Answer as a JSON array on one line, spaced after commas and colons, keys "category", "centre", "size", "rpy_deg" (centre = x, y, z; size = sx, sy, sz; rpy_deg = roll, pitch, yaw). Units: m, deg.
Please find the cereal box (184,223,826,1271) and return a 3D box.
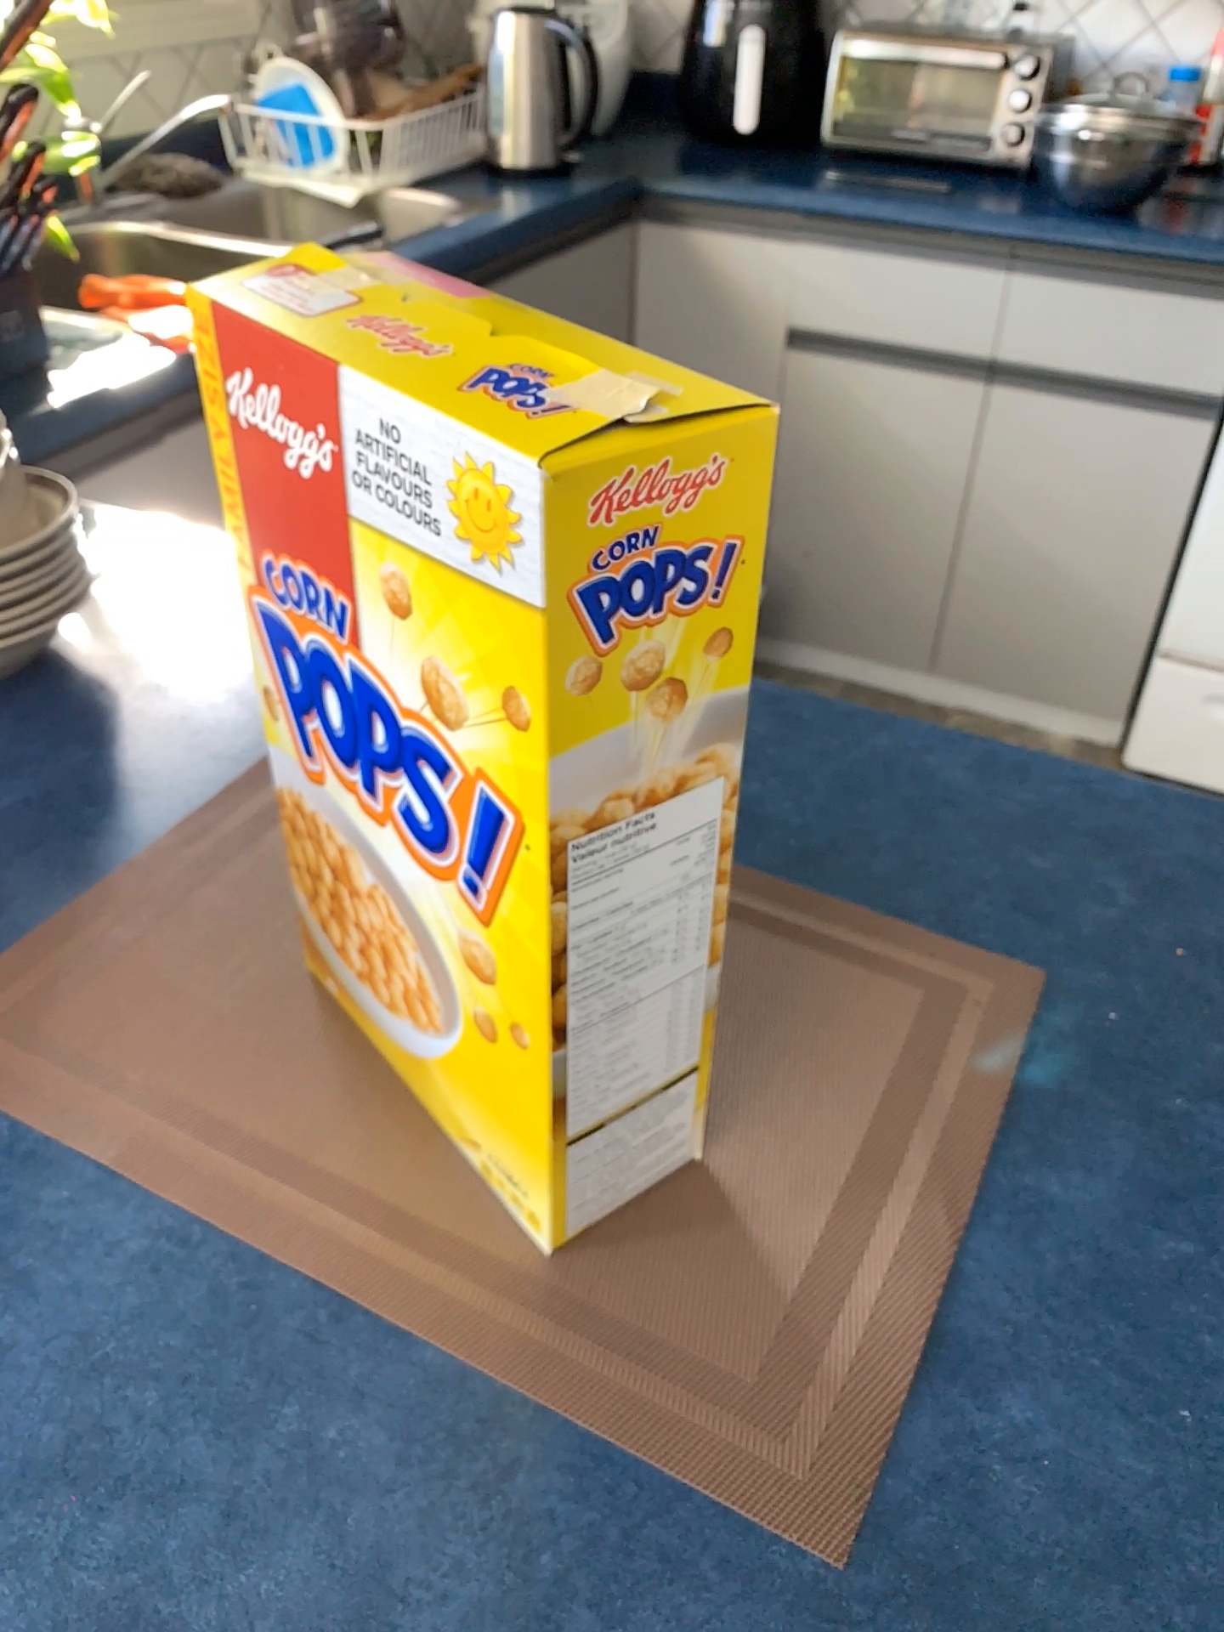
[{"category": "cereal box", "centre": [-0.047, -0.025, 0.473], "size": [0.090, 0.317, 0.211], "rpy_deg": [-23, 43, -30]}]
